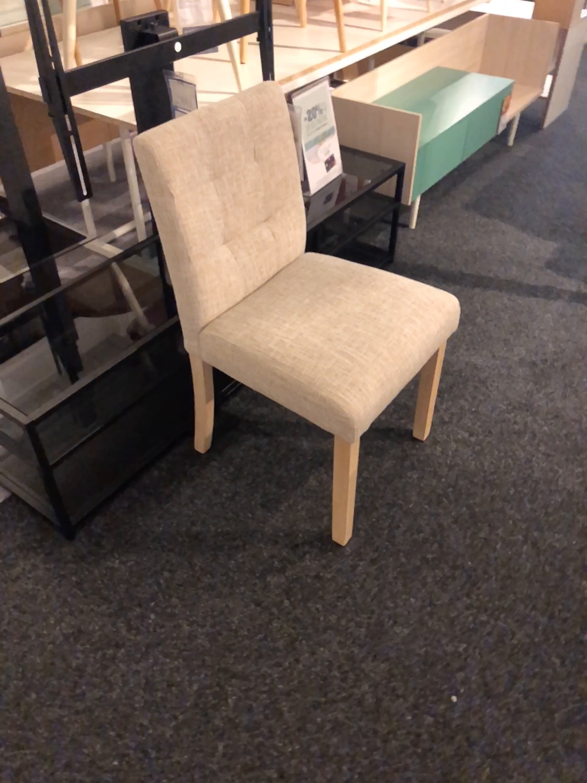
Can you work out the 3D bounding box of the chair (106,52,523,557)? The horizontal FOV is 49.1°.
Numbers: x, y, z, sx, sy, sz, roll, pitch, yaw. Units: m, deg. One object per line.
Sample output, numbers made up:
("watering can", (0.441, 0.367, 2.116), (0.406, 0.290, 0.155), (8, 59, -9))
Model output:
("chair", (0.054, -0.202, 1.468), (0.560, 0.855, 0.553), (25, 47, 25))
